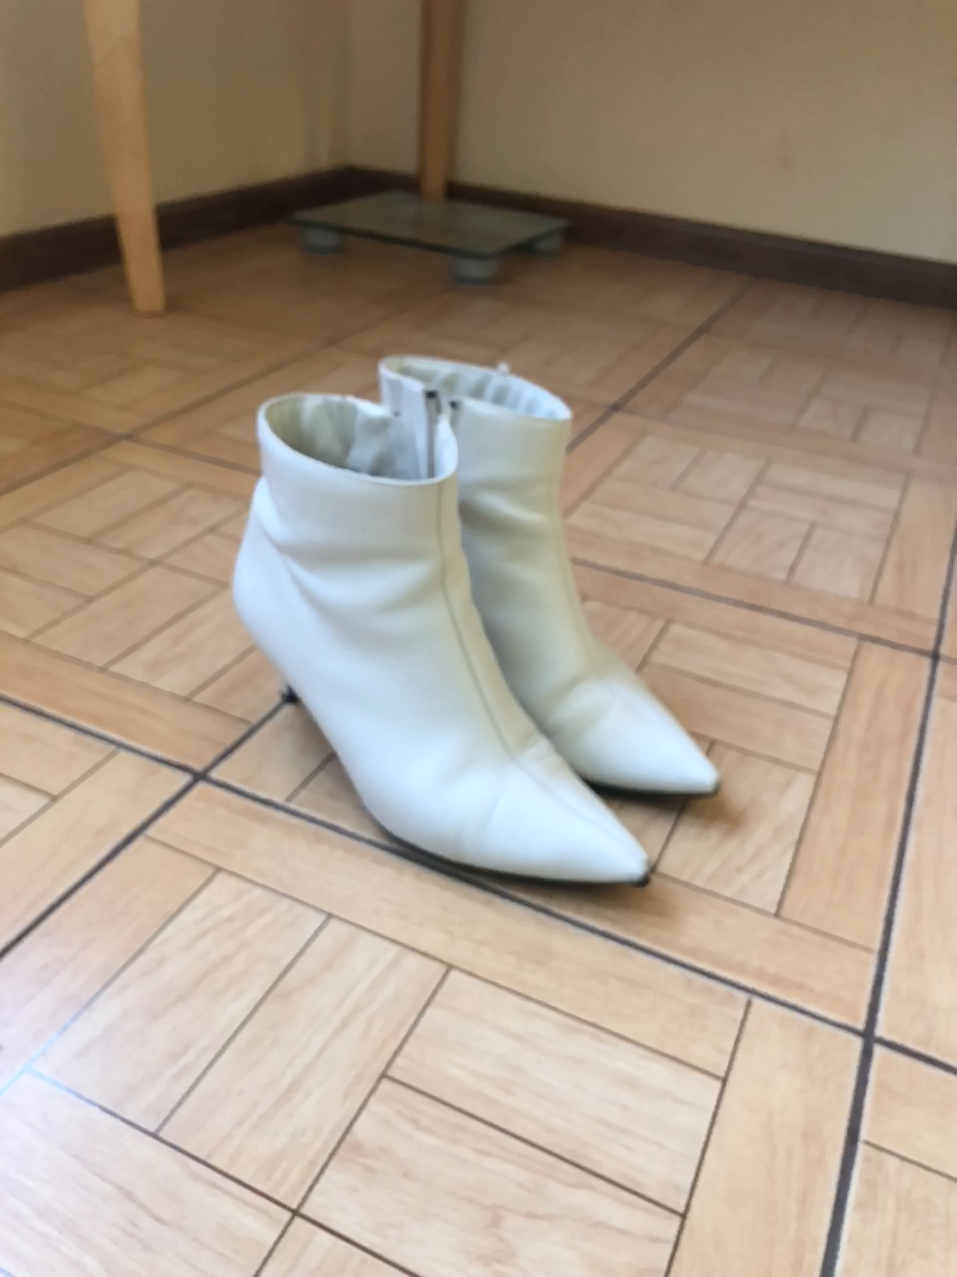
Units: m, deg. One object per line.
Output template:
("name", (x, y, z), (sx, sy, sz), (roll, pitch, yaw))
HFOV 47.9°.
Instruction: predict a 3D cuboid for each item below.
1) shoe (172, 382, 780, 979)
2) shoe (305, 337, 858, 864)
("shoe", (-0.017, 0.002, 0.491), (0.254, 0.154, 0.100), (28, 38, 33))
("shoe", (0.030, -0.038, 0.562), (0.100, 0.154, 0.274), (-22, 40, -37))
